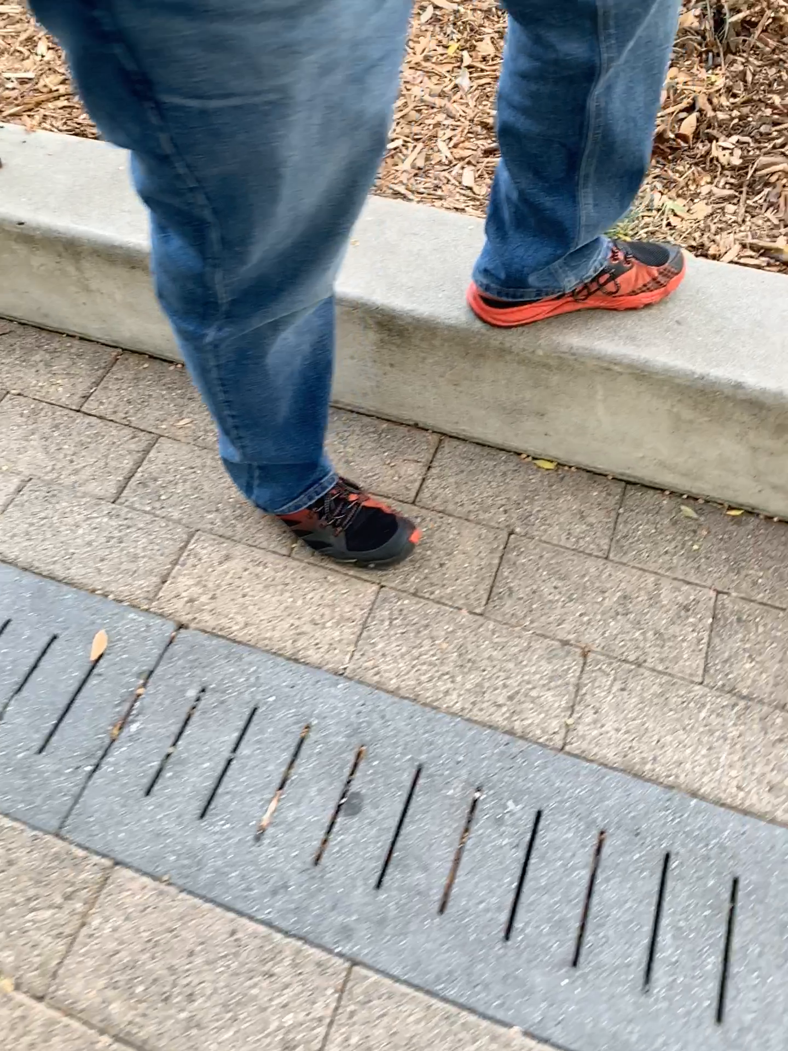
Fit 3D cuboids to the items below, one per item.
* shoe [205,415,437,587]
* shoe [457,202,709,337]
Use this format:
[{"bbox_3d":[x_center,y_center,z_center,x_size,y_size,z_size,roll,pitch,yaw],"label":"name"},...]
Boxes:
[{"bbox_3d":[-0.105,-0.041,1.183,0.306,0.080,0.137,22,57,17],"label":"shoe"},{"bbox_3d":[0.255,-0.358,1.118,0.310,0.080,0.122,-11,54,-6],"label":"shoe"}]
